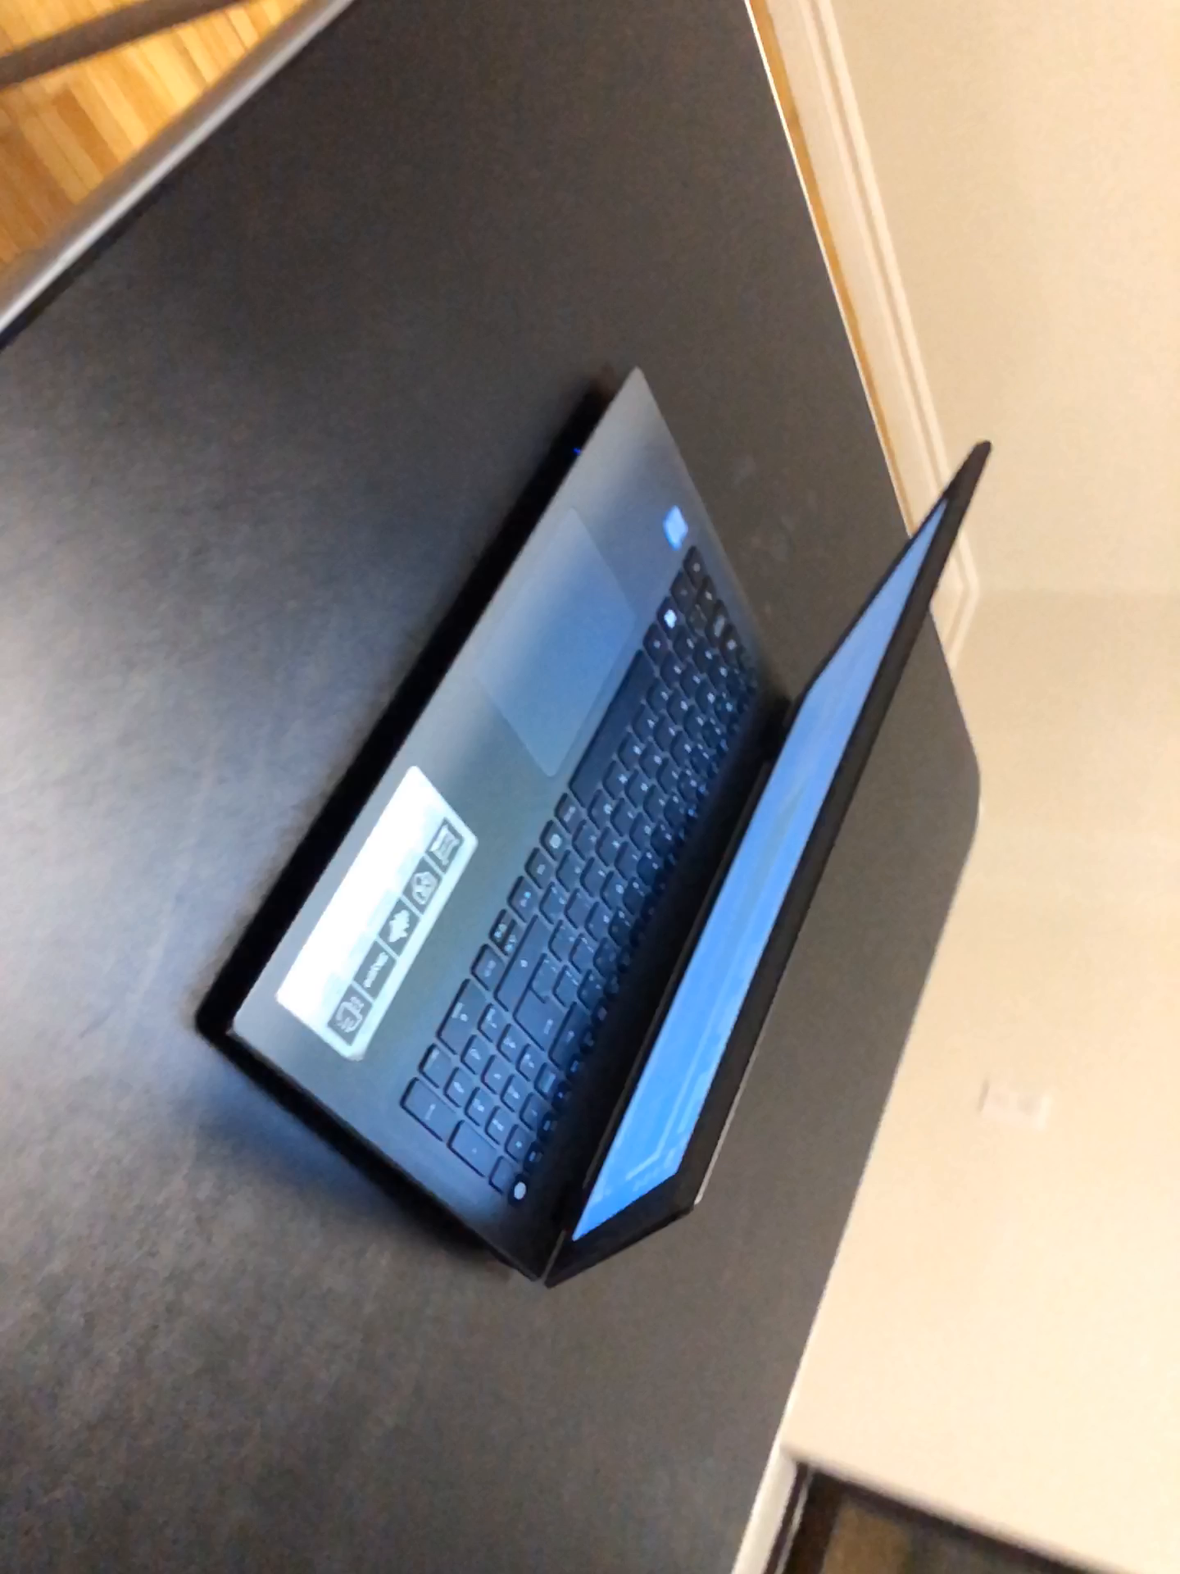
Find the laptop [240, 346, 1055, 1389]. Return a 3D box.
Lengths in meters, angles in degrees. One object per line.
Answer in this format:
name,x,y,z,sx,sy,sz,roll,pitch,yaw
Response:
laptop,0.067,0.027,0.594,0.252,0.155,0.369,56,50,-42
